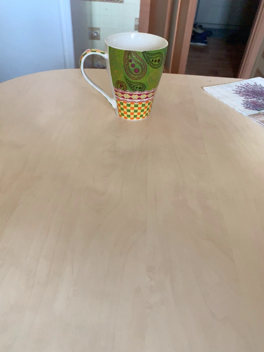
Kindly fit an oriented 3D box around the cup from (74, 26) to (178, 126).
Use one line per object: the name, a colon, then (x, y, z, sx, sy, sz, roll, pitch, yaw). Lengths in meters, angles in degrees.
cup: (-0.013, -0.153, 0.416, 0.130, 0.109, 0.111, -1, 41, -5)
